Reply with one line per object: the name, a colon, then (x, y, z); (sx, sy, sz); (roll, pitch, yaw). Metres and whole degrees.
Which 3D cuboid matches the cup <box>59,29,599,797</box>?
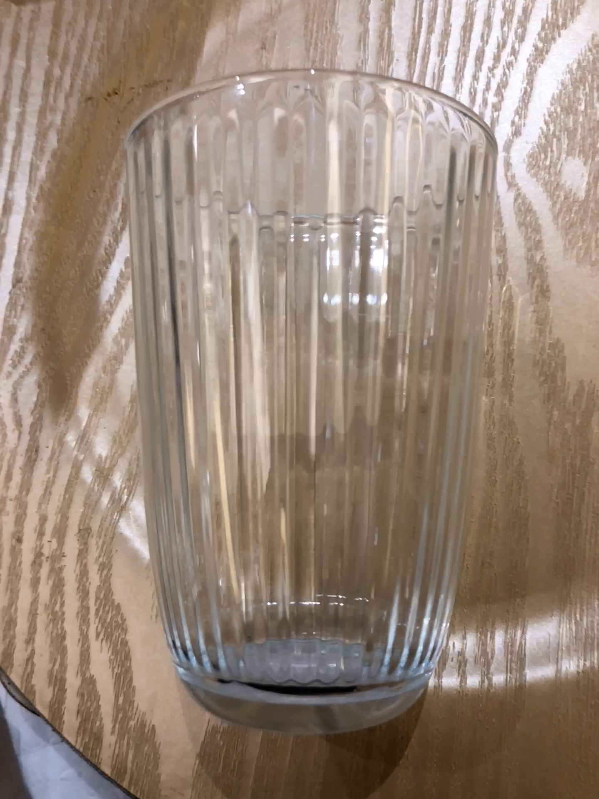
cup: (0.009, 0.003, 0.154); (0.090, 0.070, 0.130); (-1, 80, 9)
